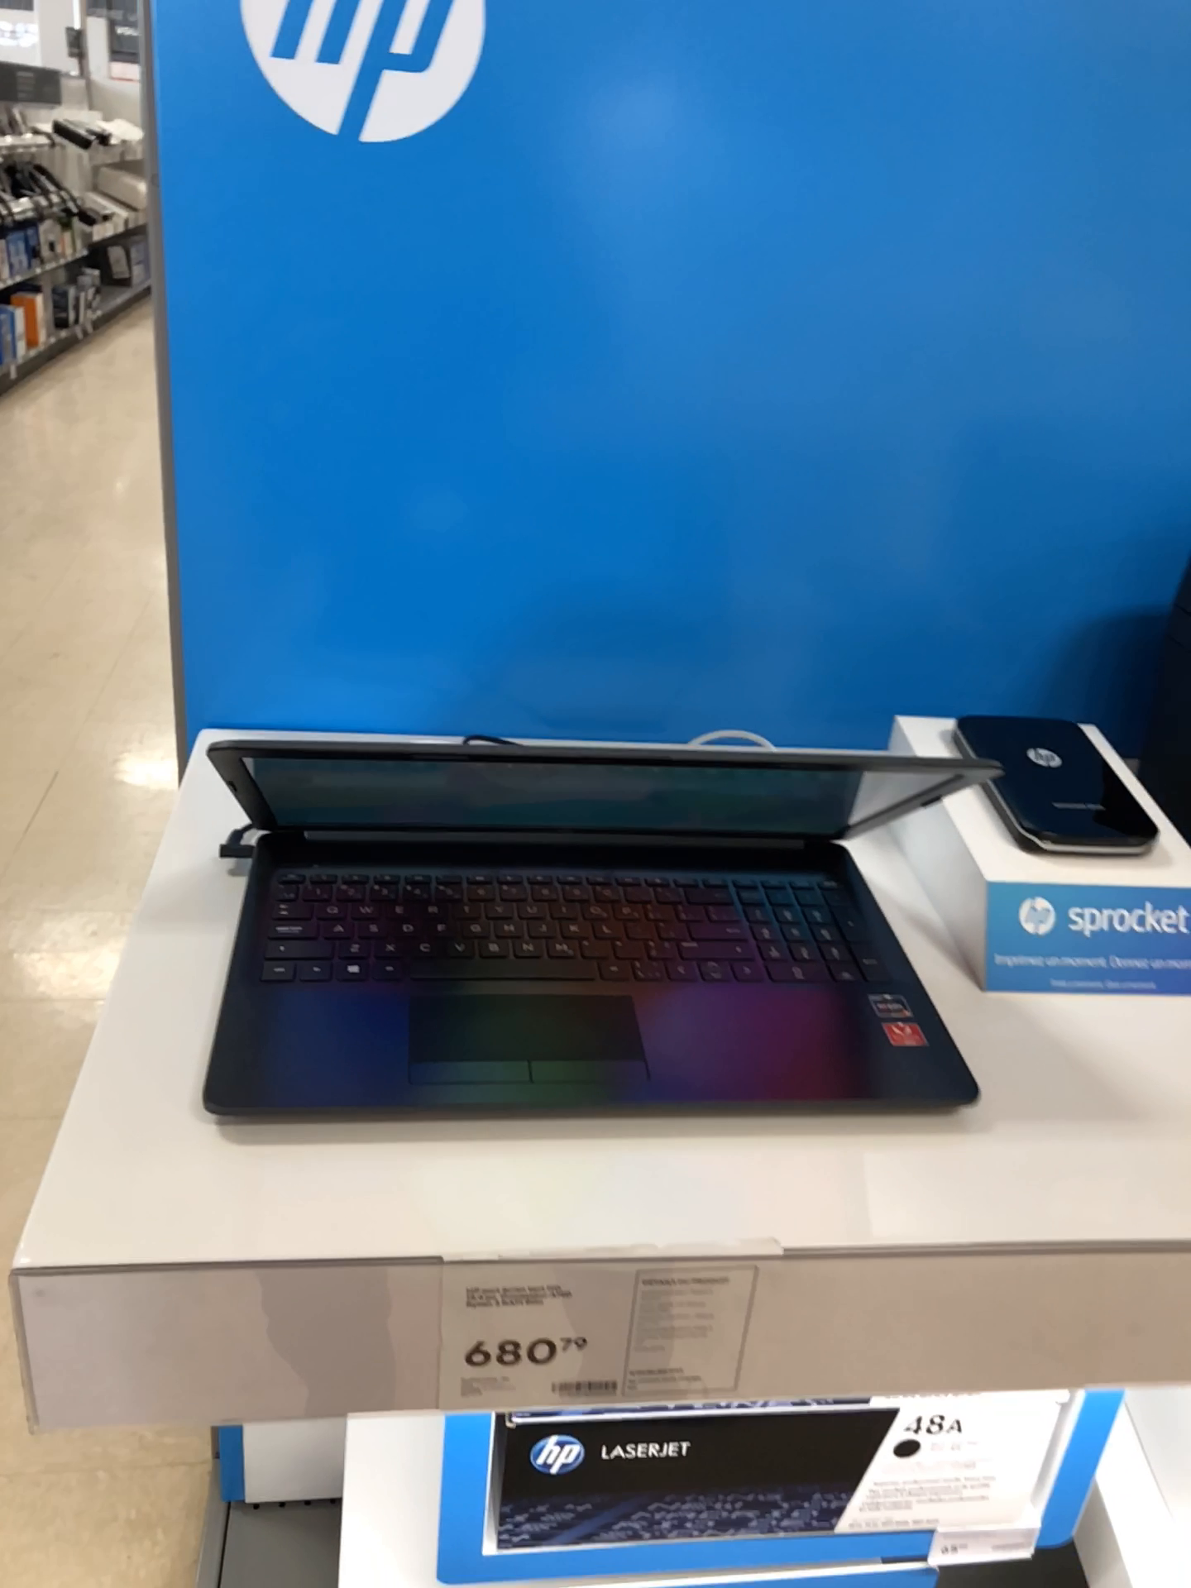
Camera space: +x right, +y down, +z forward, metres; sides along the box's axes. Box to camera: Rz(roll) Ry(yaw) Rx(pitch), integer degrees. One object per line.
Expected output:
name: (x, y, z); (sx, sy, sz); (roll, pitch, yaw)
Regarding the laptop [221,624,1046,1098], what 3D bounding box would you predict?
laptop: (0.003, 0.025, 0.683); (0.355, 0.130, 0.243); (2, 26, -11)
